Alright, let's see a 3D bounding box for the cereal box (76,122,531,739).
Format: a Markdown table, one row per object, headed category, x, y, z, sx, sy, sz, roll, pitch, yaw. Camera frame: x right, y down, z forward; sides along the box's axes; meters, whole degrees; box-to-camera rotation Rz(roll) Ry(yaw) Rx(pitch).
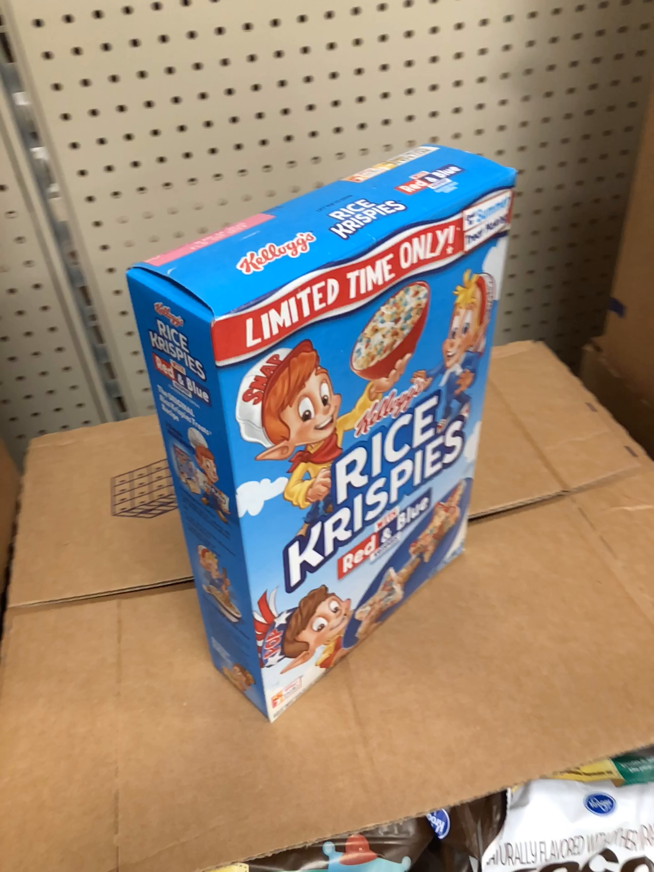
| category | x | y | z | sx | sy | sz | roll | pitch | yaw |
| --- | --- | --- | --- | --- | --- | --- | --- | --- | --- |
| cereal box | 0.003 | 0.007 | 0.390 | 0.200 | 0.279 | 0.060 | -33 | 51 | -31 |
